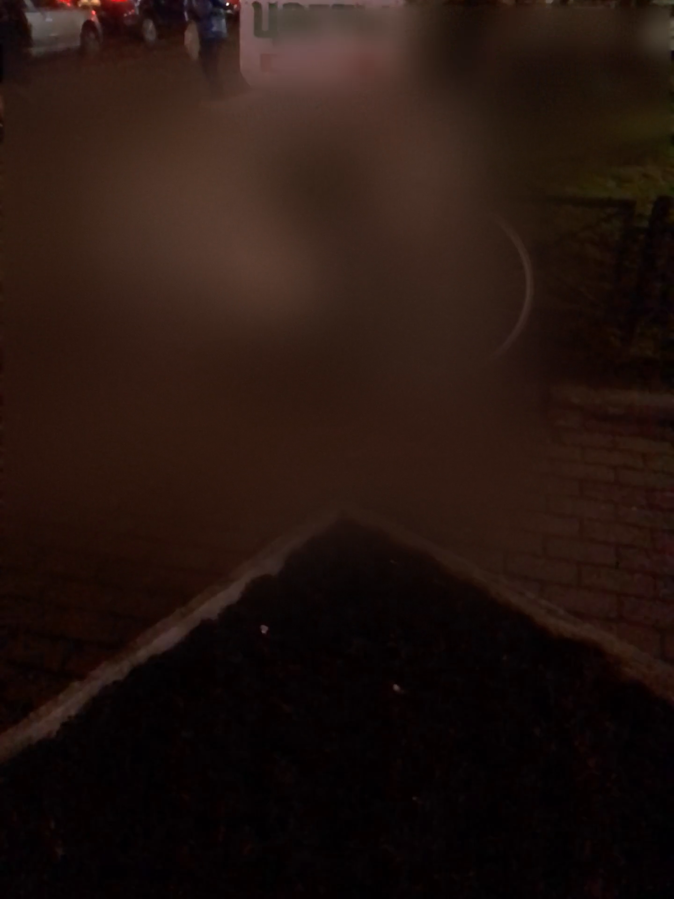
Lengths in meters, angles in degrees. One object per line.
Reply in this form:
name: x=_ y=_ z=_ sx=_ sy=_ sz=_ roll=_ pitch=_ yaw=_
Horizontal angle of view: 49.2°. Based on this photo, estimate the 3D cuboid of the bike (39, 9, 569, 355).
bike: x=-0.114 y=-1.038 z=2.998 sx=1.828 sy=1.118 sz=0.609 roll=4 pitch=34 yaw=13
